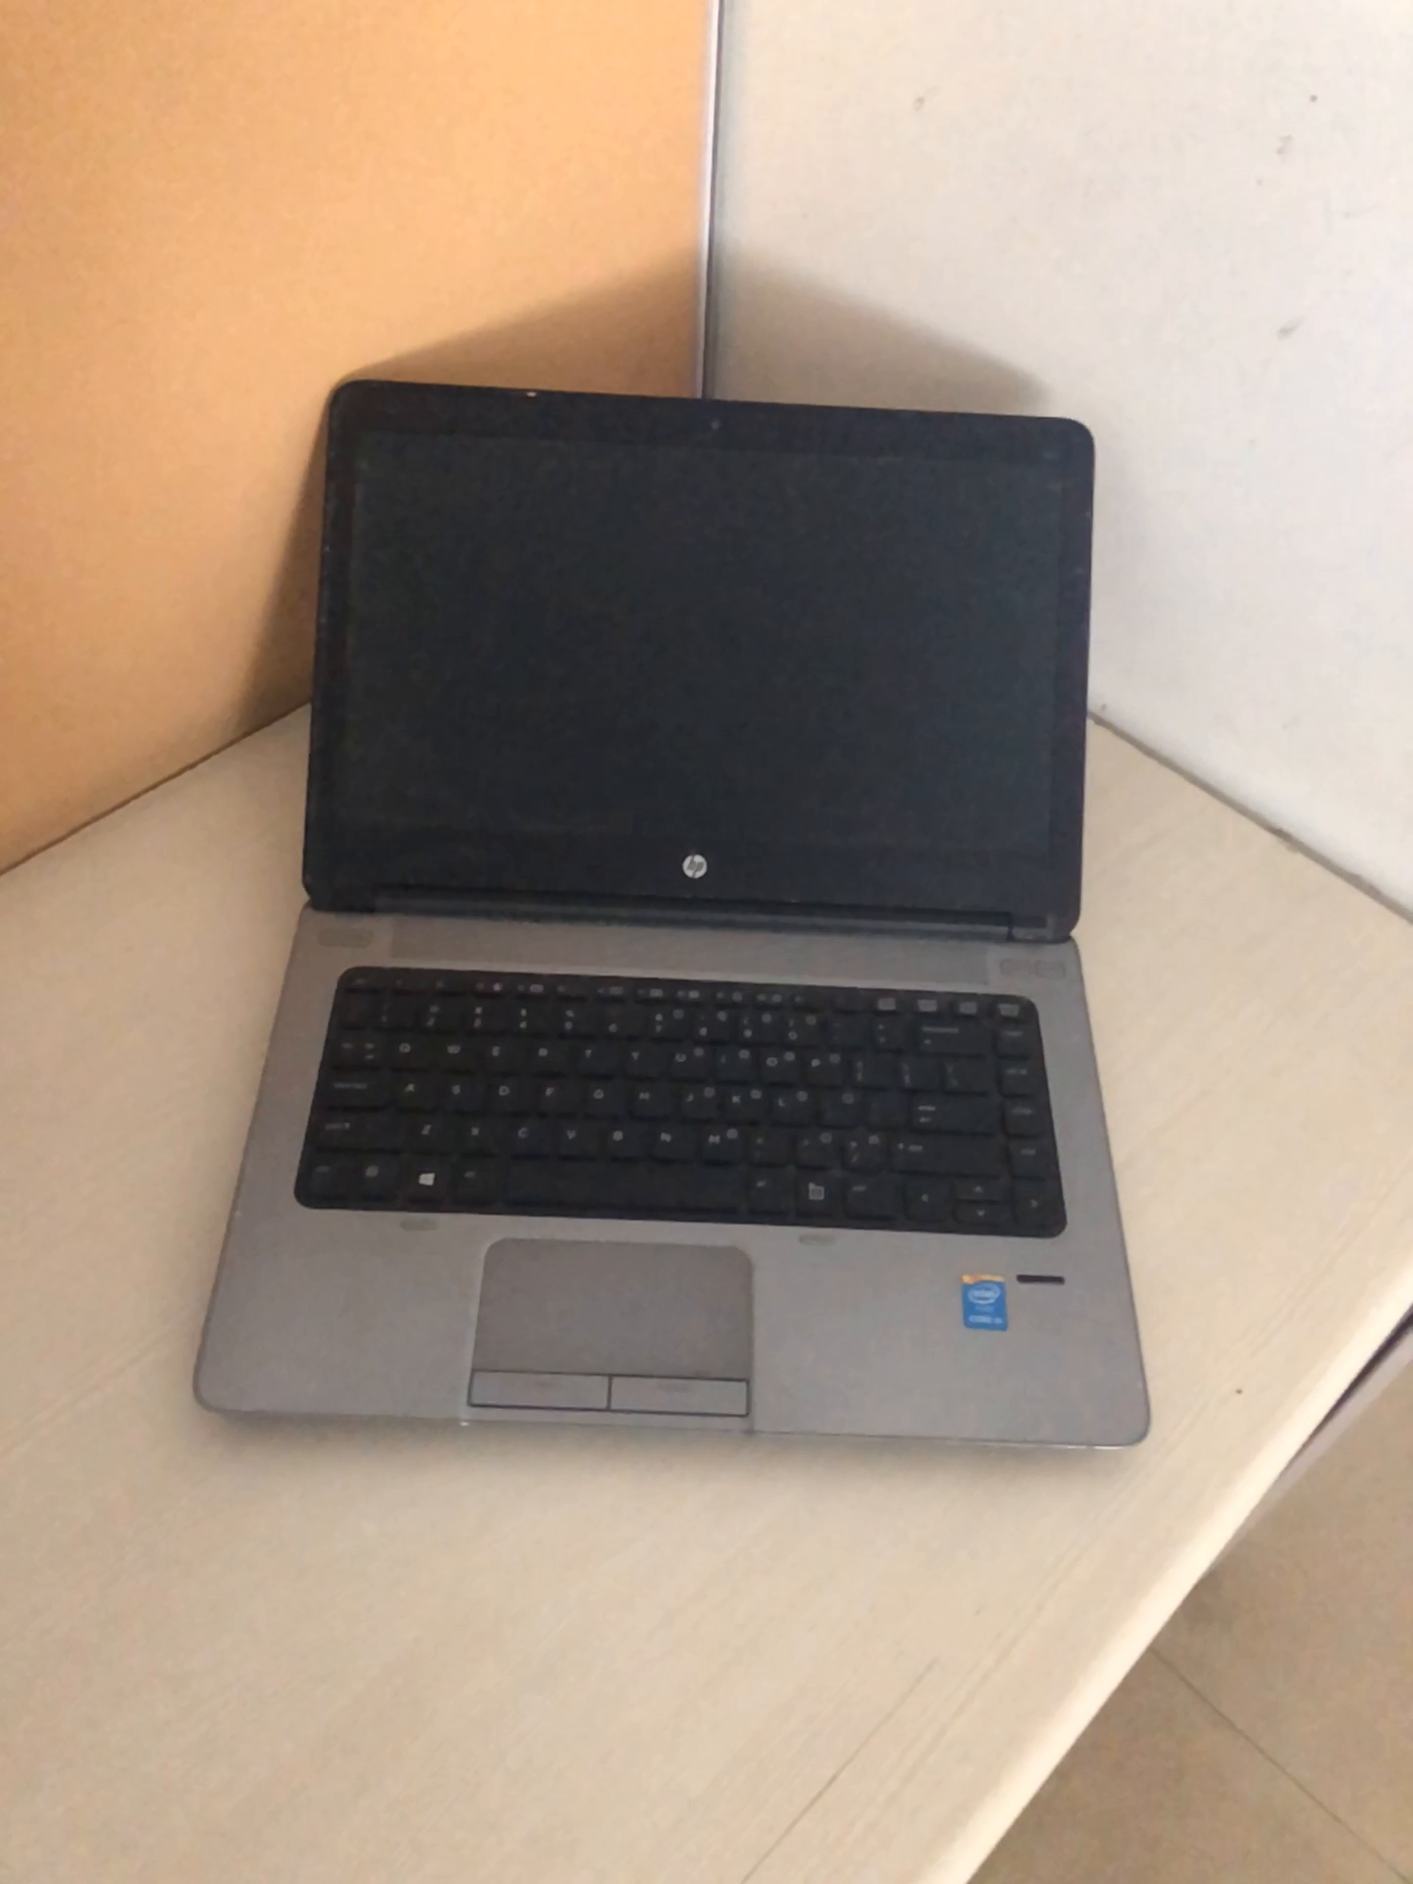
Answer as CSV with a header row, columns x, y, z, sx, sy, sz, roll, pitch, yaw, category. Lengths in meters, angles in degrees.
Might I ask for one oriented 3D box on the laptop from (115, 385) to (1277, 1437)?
x,y,z,sx,sy,sz,roll,pitch,yaw,category
0.003,-0.036,0.591,0.316,0.125,0.393,3,51,-1,laptop
